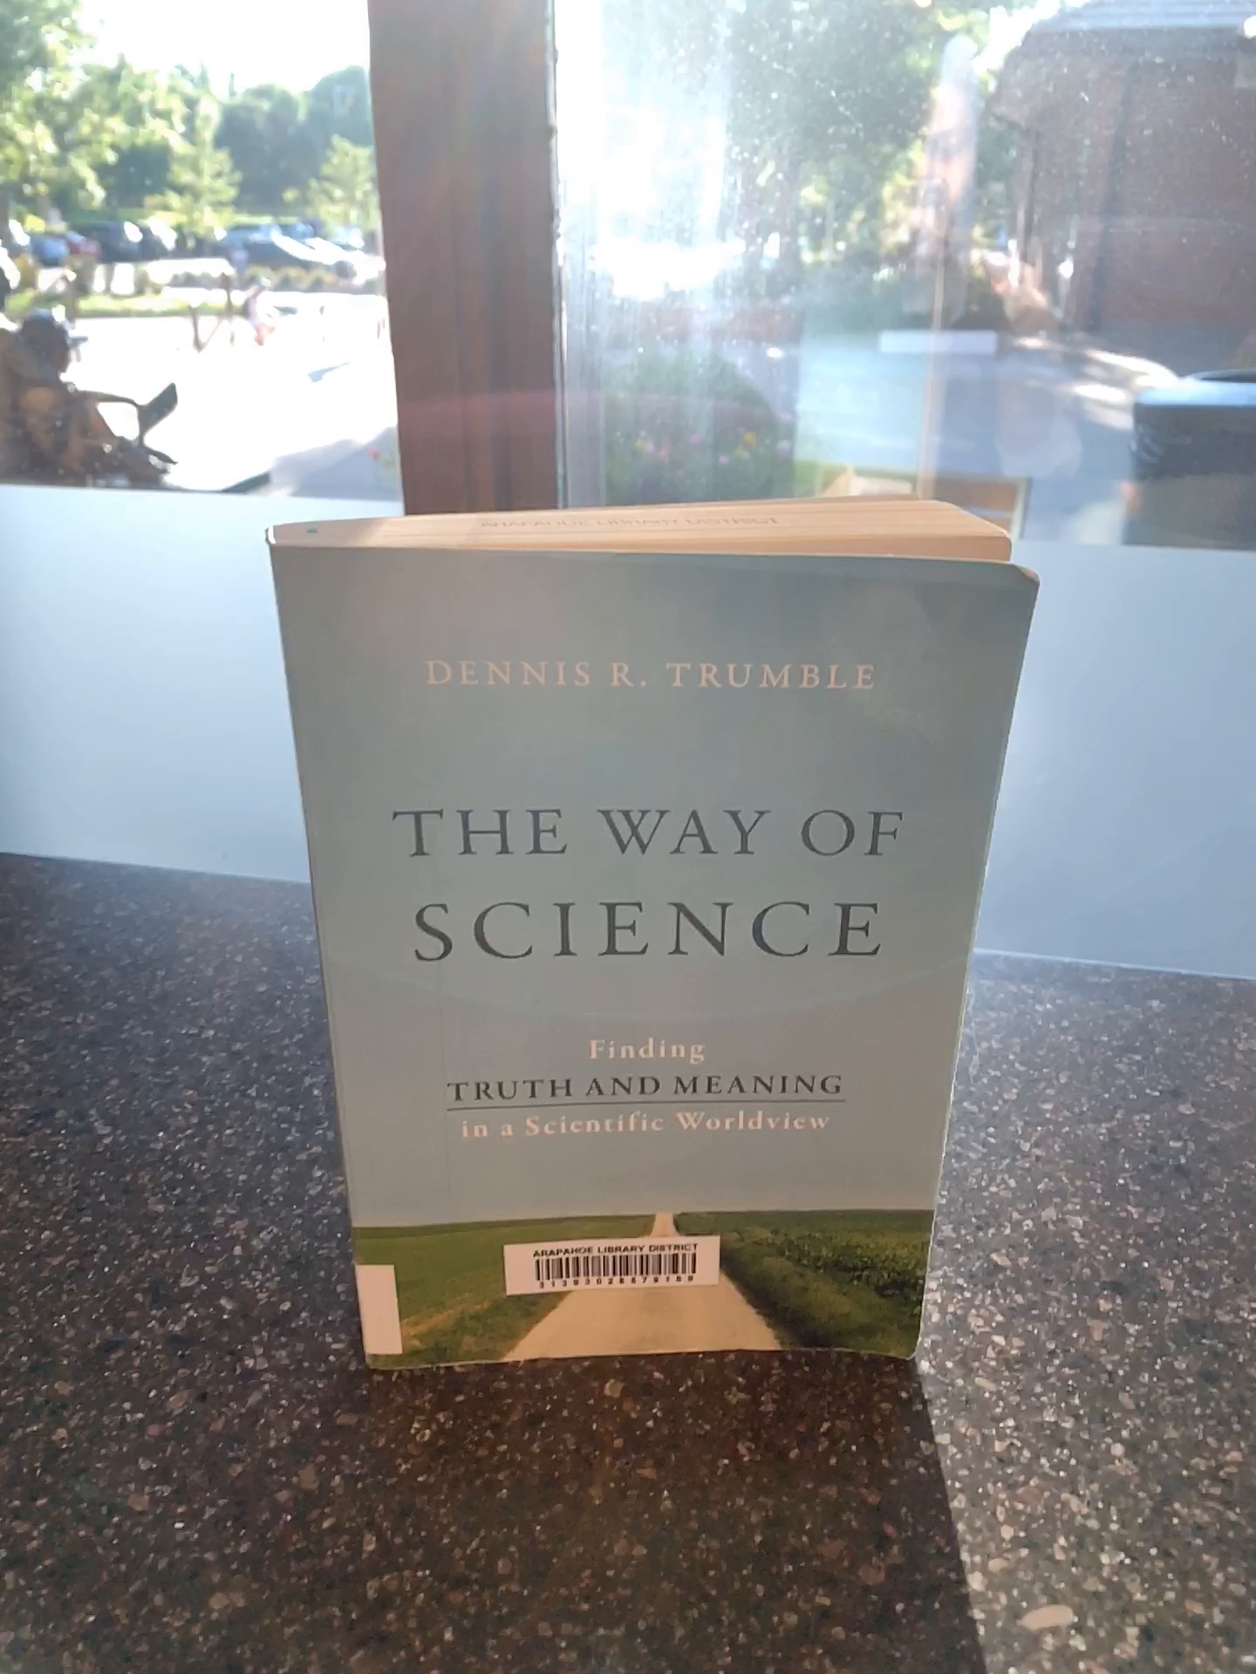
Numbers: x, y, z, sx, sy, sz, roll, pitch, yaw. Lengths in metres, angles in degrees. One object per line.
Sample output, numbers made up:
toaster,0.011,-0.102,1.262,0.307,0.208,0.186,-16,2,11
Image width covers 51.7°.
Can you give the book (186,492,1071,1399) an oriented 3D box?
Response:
book,0.001,0.034,0.309,0.167,0.219,0.040,-2,25,-3
